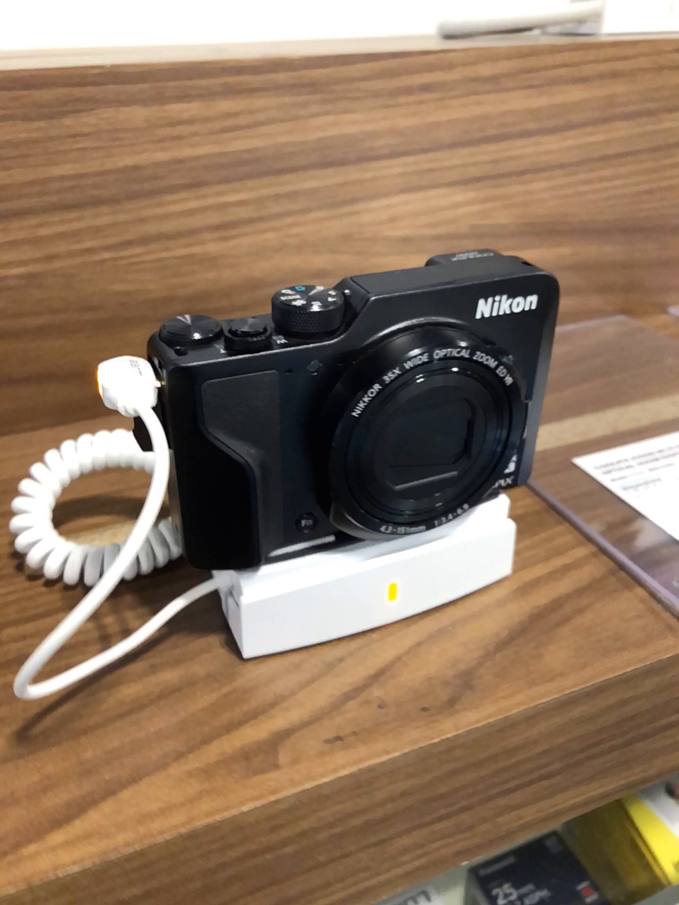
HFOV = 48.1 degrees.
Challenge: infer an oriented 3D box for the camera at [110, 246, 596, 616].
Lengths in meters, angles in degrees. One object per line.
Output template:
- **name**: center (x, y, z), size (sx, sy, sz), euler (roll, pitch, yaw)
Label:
- **camera**: center (0.004, -0.012, 0.220), size (0.120, 0.070, 0.050), euler (-13, 30, -18)
